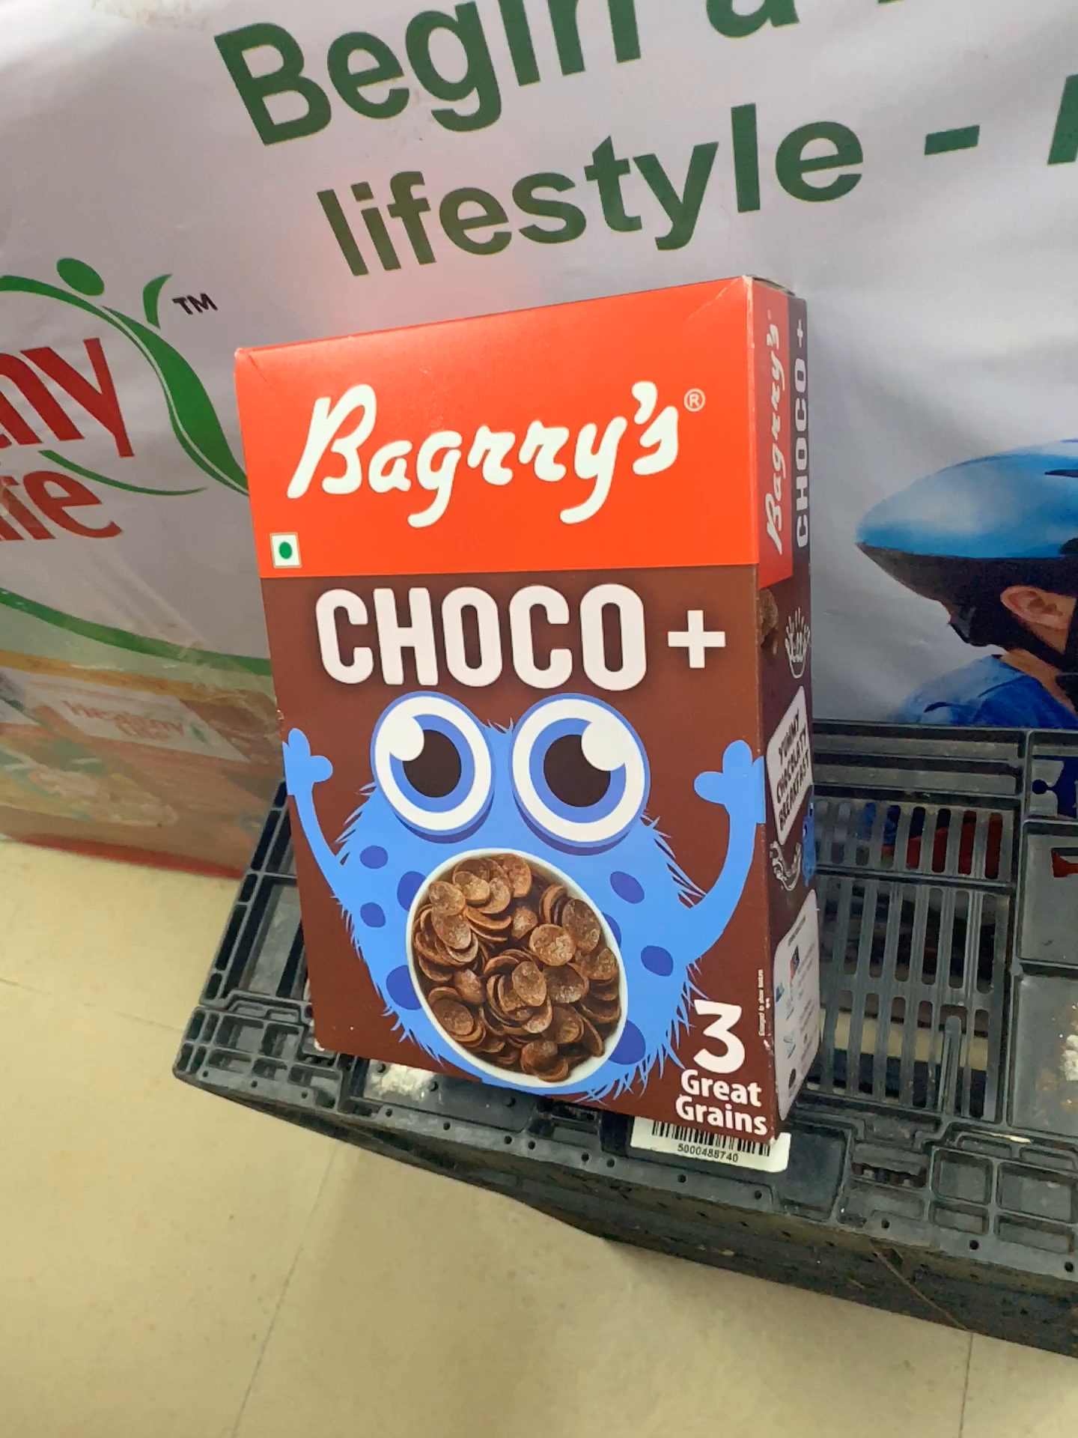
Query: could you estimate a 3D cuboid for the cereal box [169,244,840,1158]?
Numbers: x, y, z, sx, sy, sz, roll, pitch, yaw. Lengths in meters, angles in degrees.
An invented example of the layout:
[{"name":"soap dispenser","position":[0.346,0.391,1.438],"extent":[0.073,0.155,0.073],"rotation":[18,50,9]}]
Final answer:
[{"name":"cereal box","position":[-0.007,-0.007,0.364],"extent":[0.191,0.080,0.240],"rotation":[3,103,27]}]
